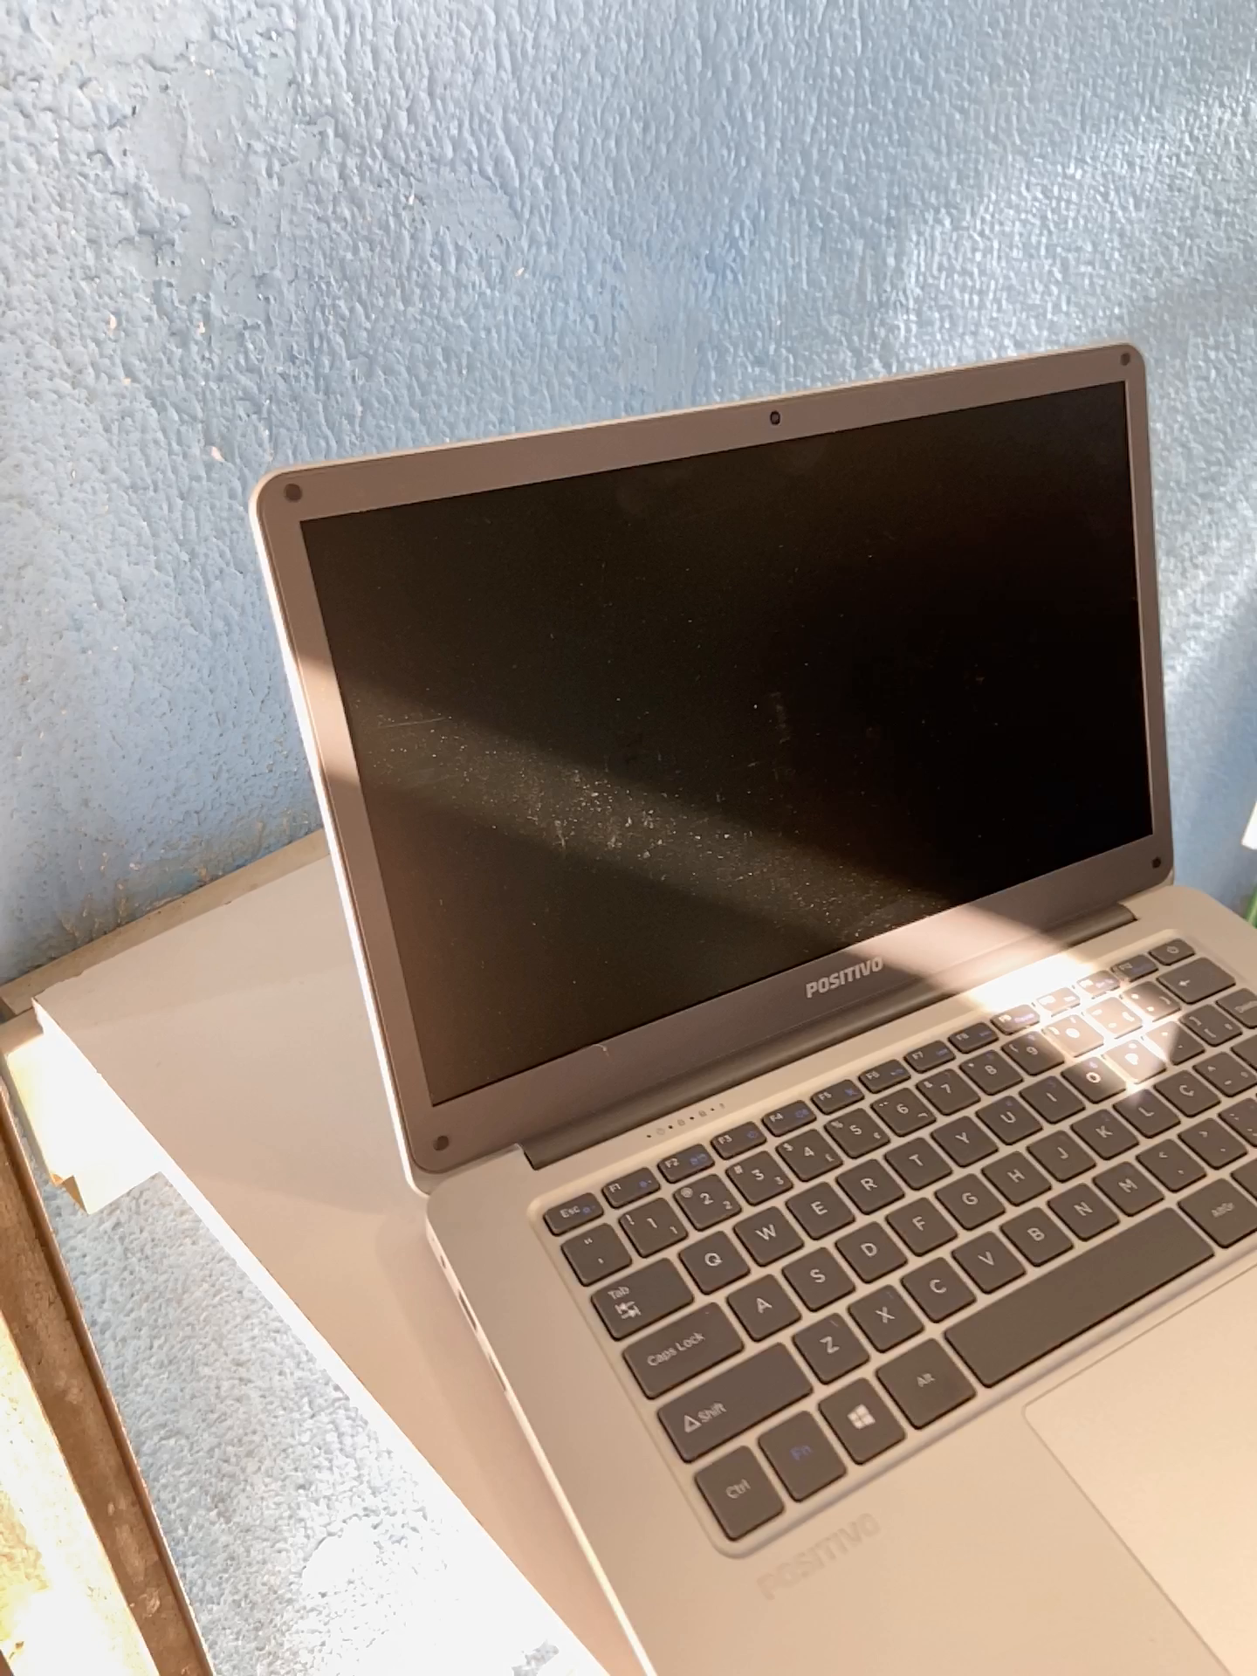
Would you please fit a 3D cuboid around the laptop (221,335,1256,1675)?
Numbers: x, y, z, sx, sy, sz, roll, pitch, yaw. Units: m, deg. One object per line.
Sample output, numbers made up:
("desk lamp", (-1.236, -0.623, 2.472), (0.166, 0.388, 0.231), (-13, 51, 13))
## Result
("laptop", (0.114, 0.018, 0.357), (0.333, 0.189, 0.312), (-17, 41, -25))
